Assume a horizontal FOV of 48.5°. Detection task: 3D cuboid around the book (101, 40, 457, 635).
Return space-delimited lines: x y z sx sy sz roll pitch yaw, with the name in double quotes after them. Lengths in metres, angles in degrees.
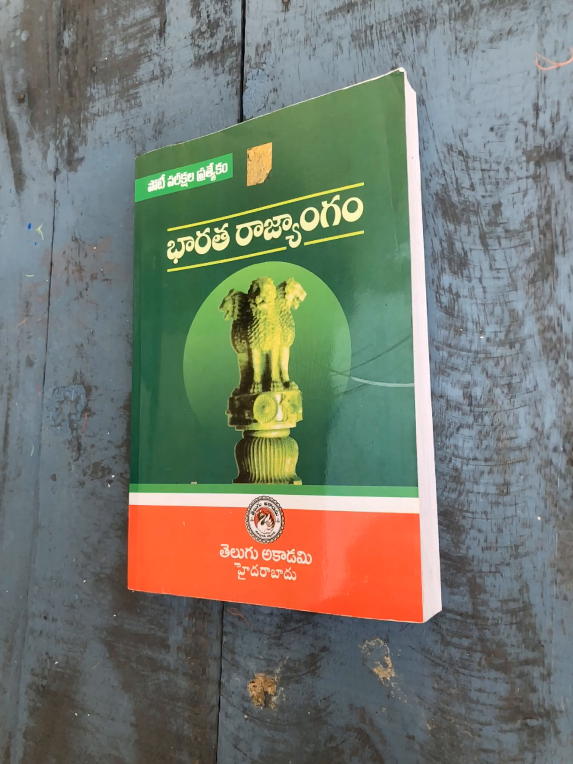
-0.010 -0.016 0.298 0.160 0.040 0.230 -5 81 30 "book"
